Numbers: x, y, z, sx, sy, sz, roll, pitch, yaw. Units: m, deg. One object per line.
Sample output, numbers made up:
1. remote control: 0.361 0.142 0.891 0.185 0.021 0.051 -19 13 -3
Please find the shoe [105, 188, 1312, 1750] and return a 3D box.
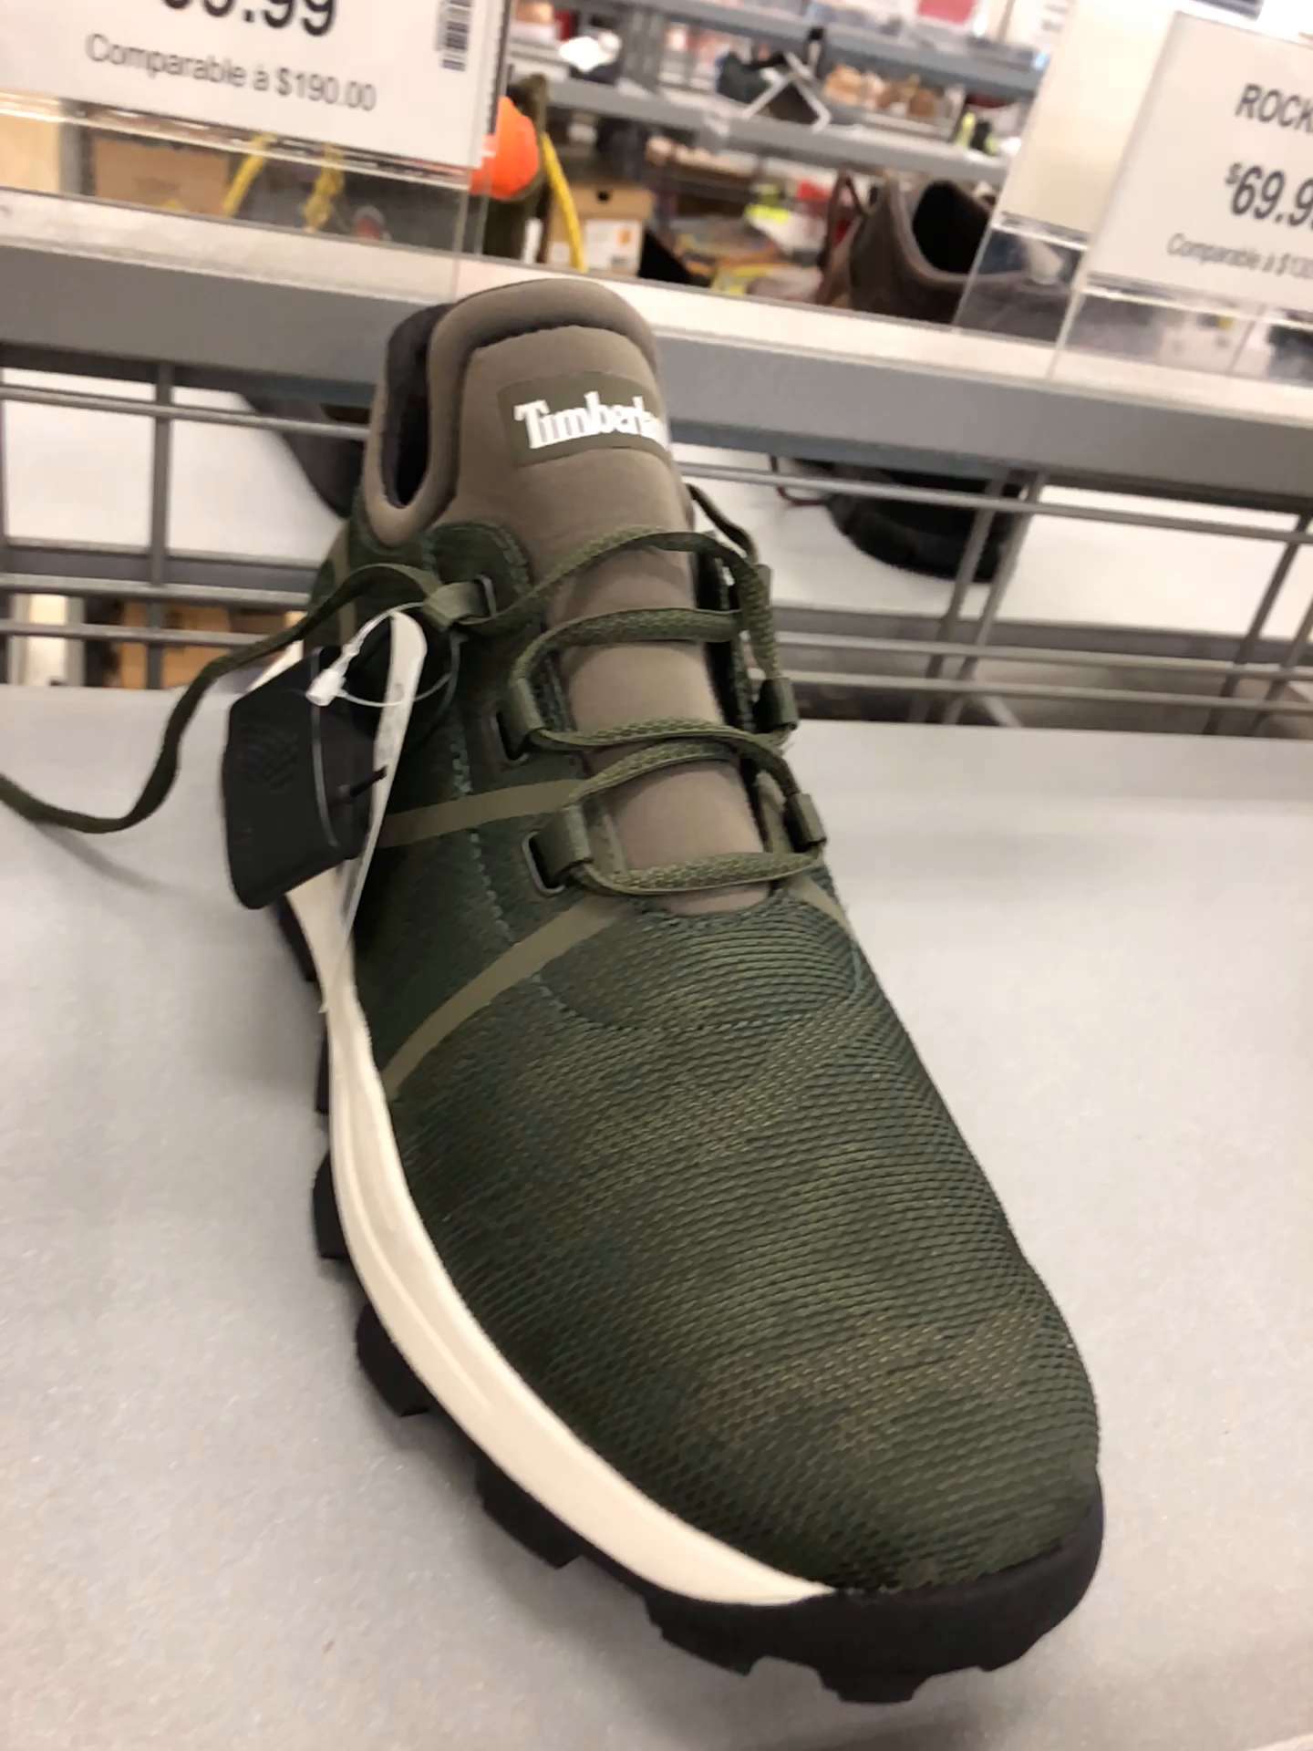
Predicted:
1. shoe: -0.017 -0.012 0.292 0.130 0.149 0.312 -5 37 -27
